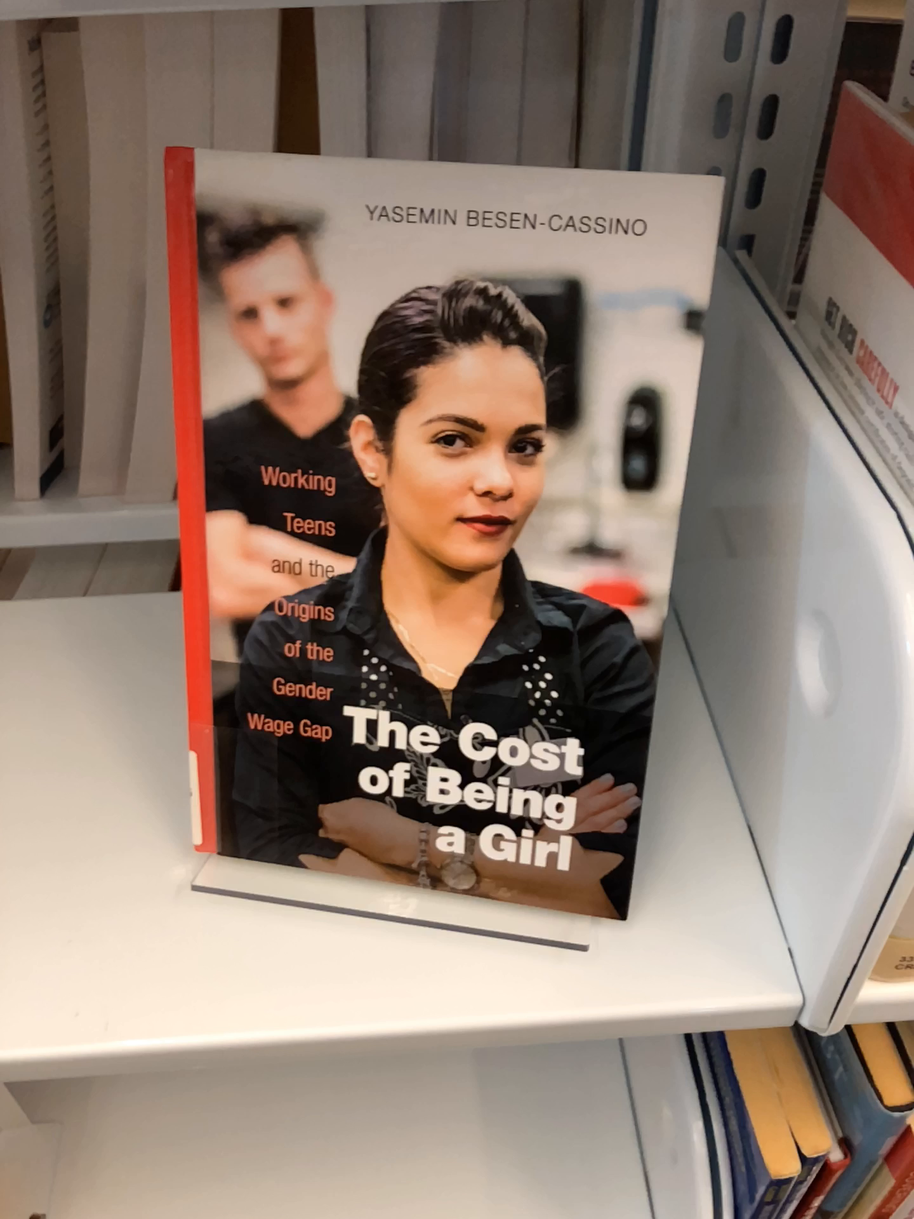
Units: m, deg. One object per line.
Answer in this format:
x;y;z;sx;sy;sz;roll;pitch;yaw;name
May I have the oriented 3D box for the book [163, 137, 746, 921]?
-0.007;-0.019;0.321;0.156;0.230;0.030;6;20;9;book
